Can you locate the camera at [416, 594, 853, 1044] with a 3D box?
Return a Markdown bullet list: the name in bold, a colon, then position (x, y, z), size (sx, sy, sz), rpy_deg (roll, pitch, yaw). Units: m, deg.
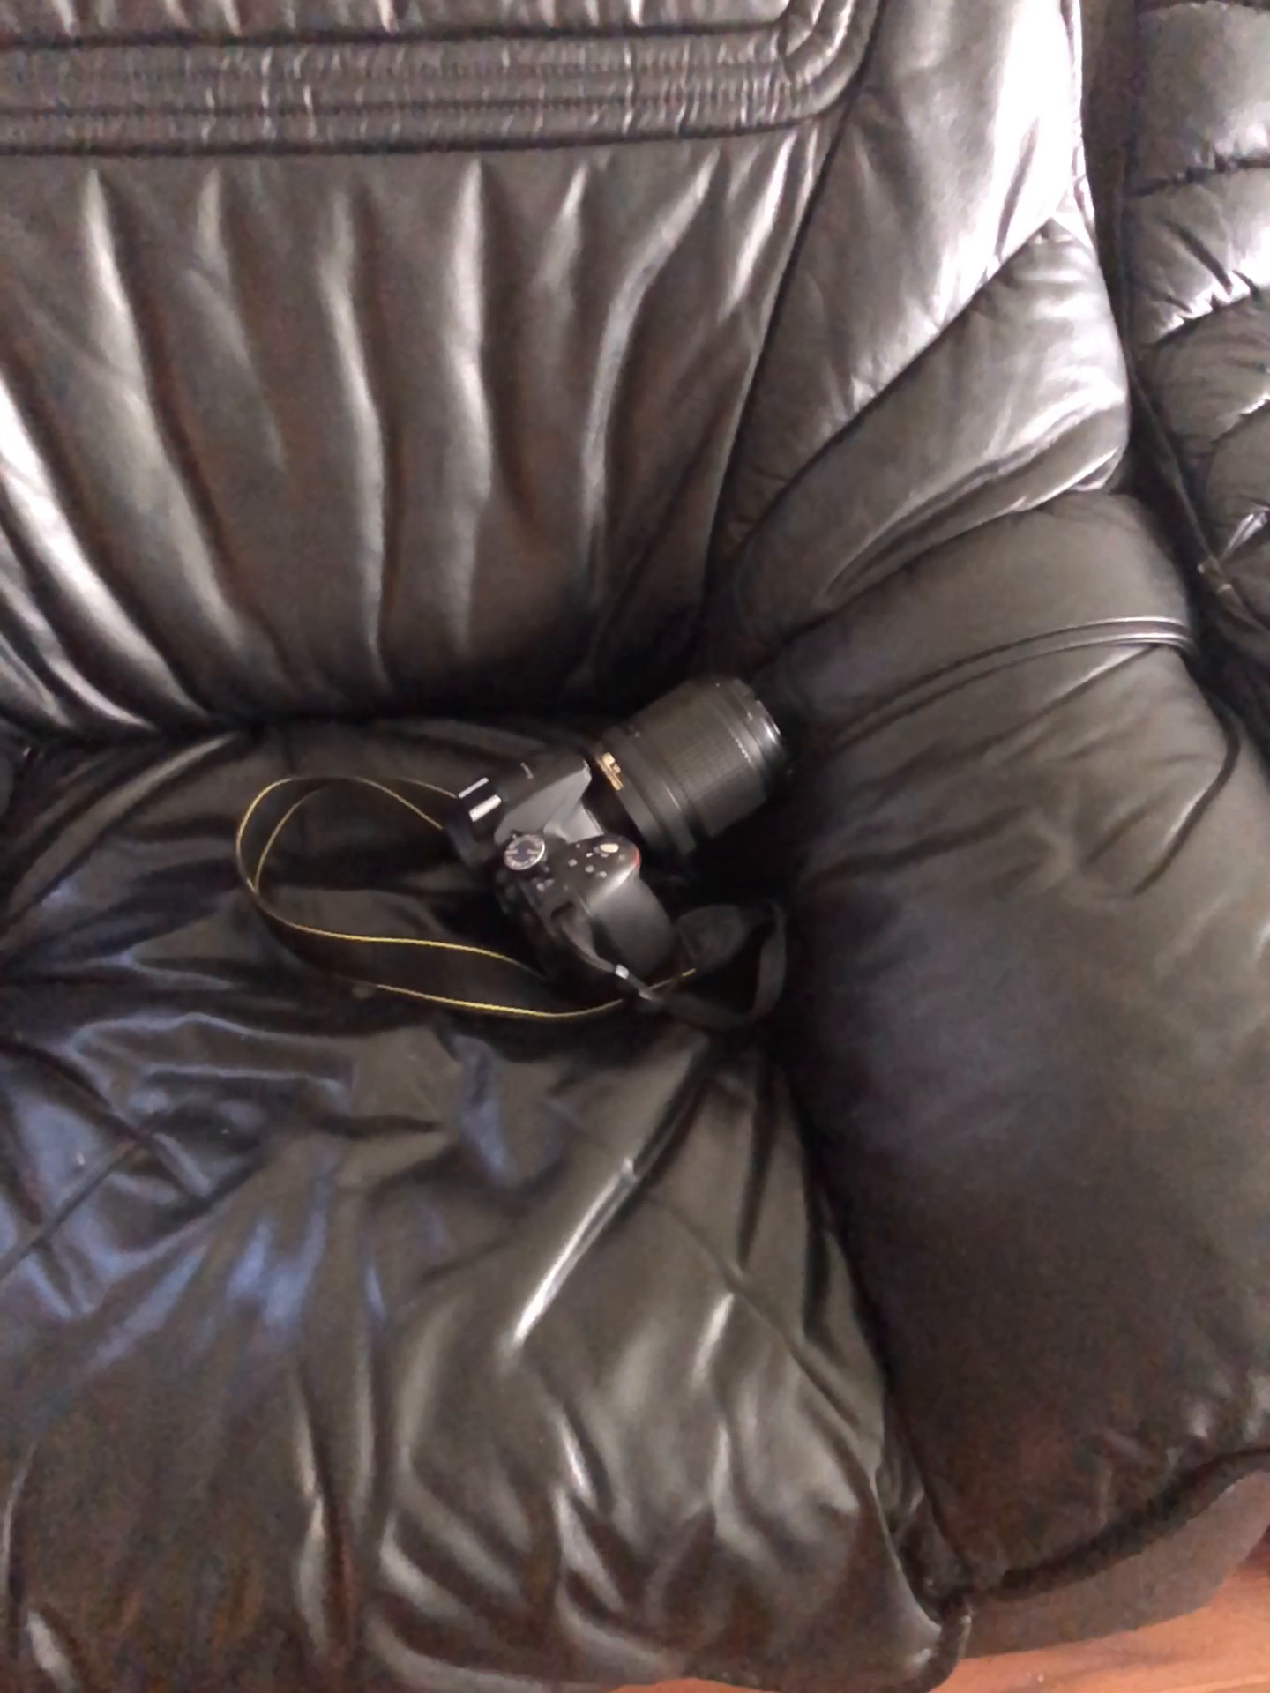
- **camera**: position (0.002, -0.016, 0.785), size (0.170, 0.130, 0.140), rpy_deg (-33, 50, -6)
